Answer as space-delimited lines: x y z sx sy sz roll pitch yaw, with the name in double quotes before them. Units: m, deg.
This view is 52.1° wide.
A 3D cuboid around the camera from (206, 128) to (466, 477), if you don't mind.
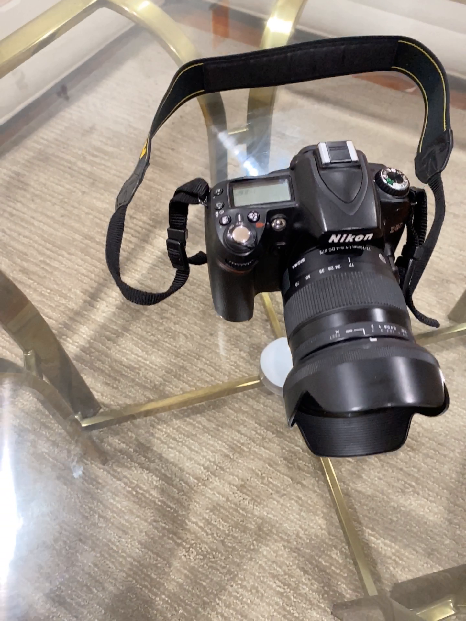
"camera" 0.058 -0.006 0.312 0.130 0.120 0.181 -6 57 -3
